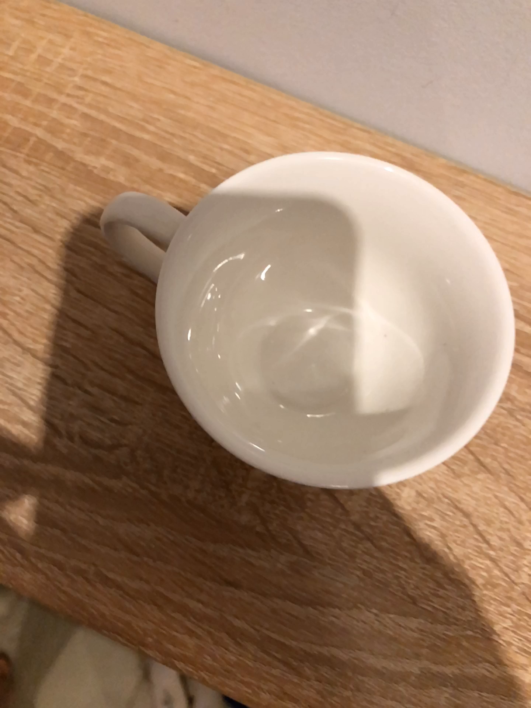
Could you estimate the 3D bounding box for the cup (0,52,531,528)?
[{"bbox_3d":[0.000,-0.009,0.131,0.100,0.050,0.060,19,74,3],"label":"cup"}]
